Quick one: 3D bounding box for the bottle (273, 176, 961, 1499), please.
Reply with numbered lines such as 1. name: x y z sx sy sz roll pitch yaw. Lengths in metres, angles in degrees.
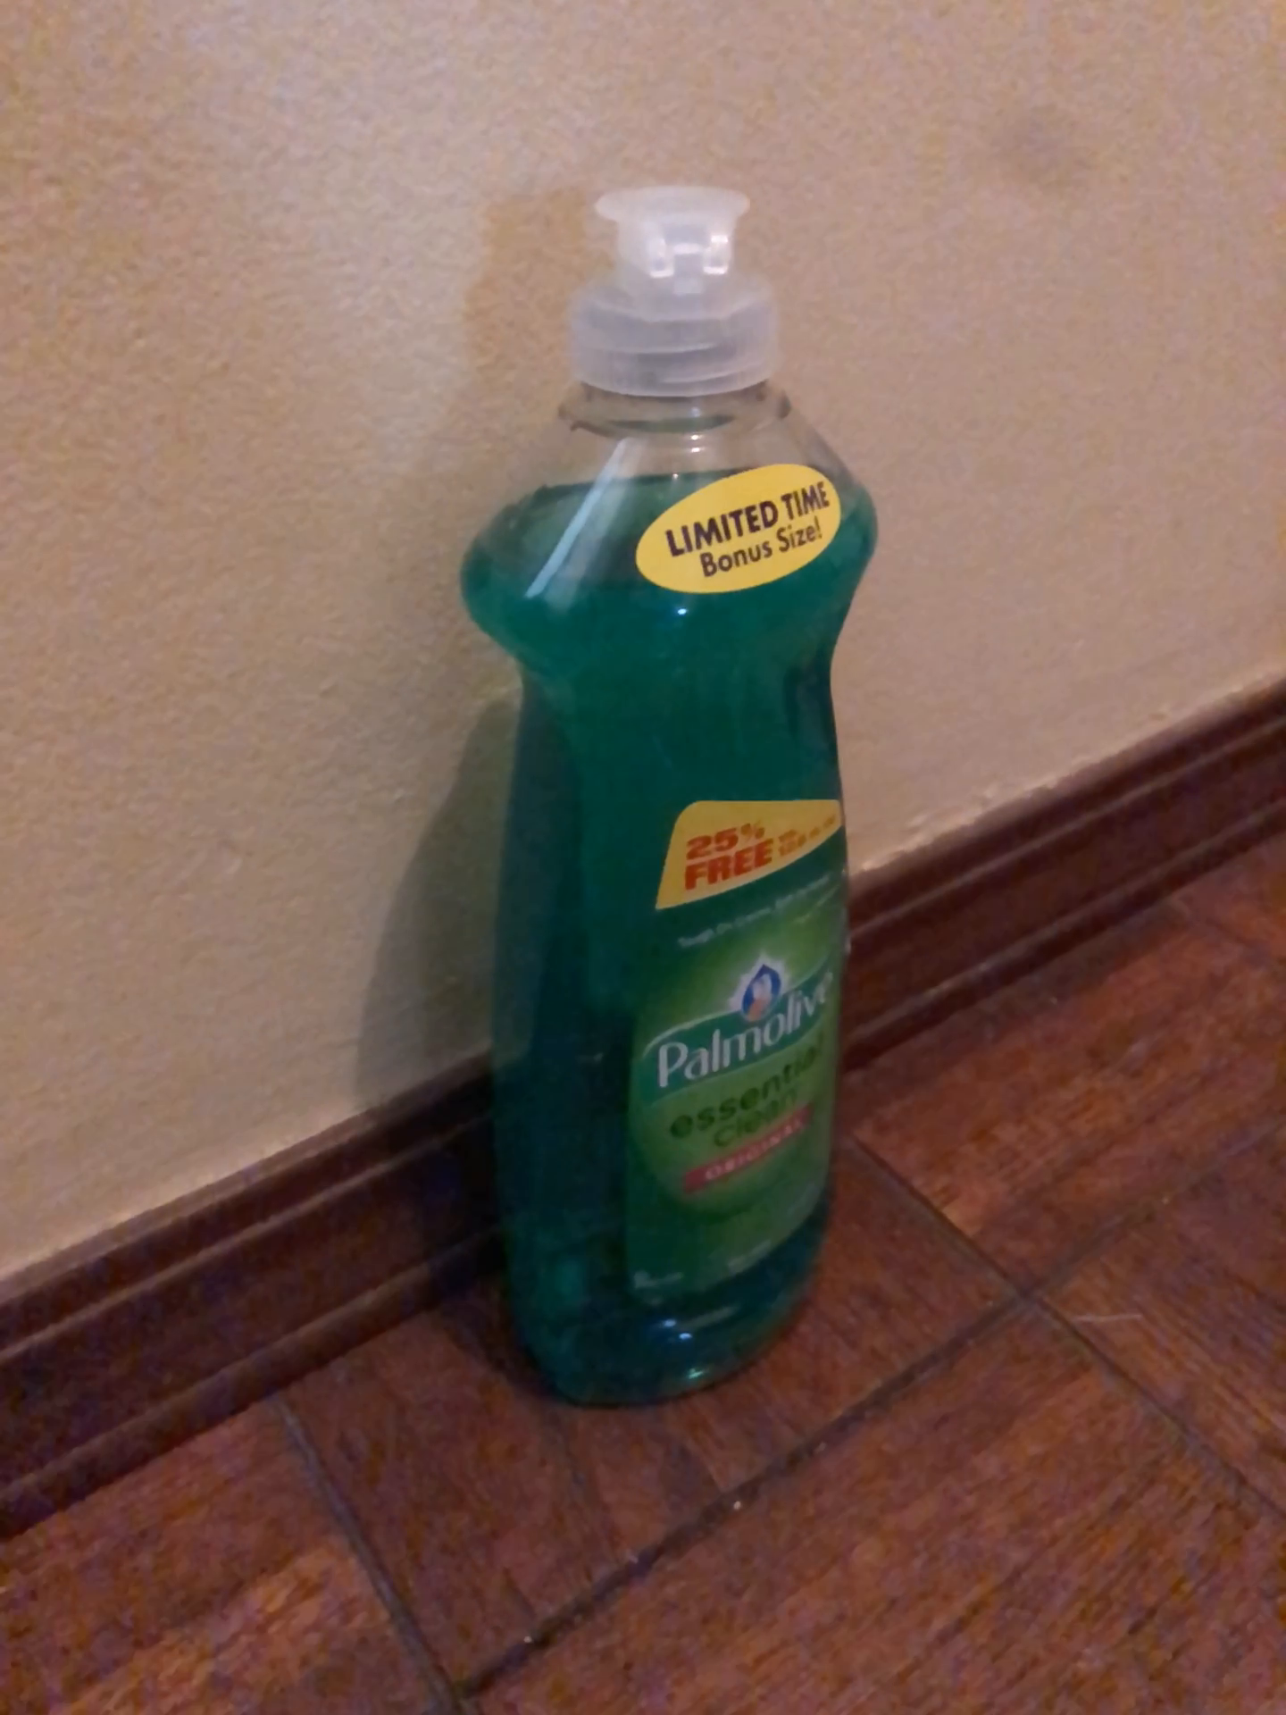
1. bottle: 0.001 0.010 0.261 0.080 0.229 0.050 -25 41 -30
